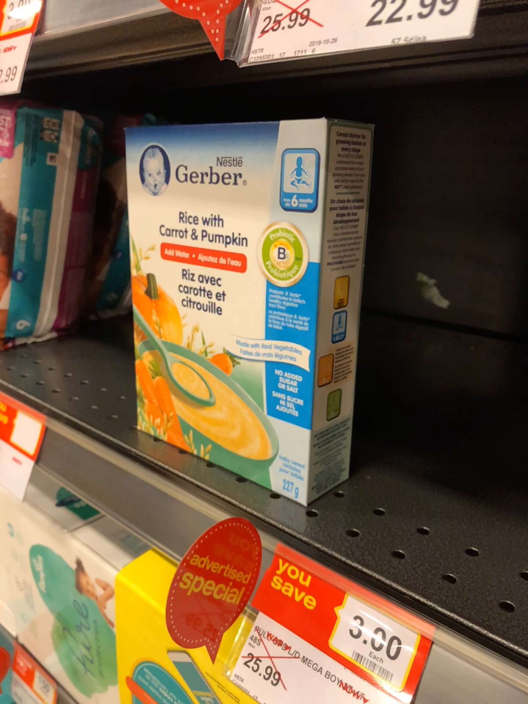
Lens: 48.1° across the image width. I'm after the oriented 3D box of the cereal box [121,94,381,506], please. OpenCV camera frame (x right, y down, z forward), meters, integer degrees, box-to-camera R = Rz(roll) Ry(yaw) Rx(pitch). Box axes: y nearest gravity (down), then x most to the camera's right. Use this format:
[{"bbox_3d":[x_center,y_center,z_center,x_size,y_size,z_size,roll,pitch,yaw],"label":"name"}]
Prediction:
[{"bbox_3d":[-0.016,-0.035,0.343,0.150,0.199,0.040,15,22,39],"label":"cereal box"}]
